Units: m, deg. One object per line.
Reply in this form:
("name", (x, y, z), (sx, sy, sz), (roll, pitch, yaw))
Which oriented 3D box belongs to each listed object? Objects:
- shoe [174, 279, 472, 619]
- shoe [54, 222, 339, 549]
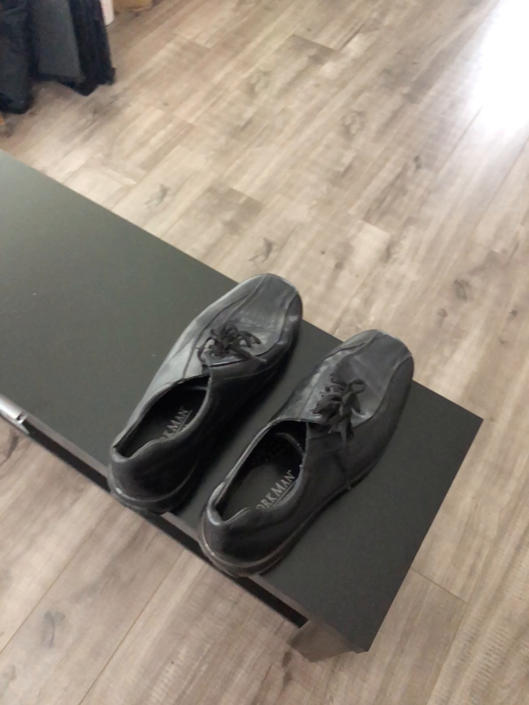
("shoe", (0.058, 0.082, 0.542), (0.110, 0.110, 0.286), (35, 64, 16))
("shoe", (-0.050, 0.024, 0.562), (0.110, 0.110, 0.283), (29, 63, 13))
